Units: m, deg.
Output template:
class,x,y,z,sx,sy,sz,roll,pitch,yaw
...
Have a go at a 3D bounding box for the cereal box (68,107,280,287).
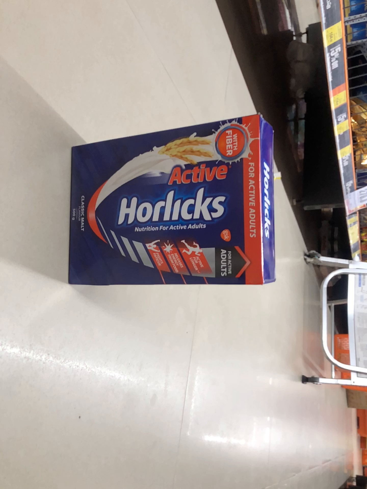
class,x,y,z,sx,sy,sz,roll,pitch,yaw
cereal box,-0.013,-0.033,0.373,0.050,0.189,0.140,7,82,-66
